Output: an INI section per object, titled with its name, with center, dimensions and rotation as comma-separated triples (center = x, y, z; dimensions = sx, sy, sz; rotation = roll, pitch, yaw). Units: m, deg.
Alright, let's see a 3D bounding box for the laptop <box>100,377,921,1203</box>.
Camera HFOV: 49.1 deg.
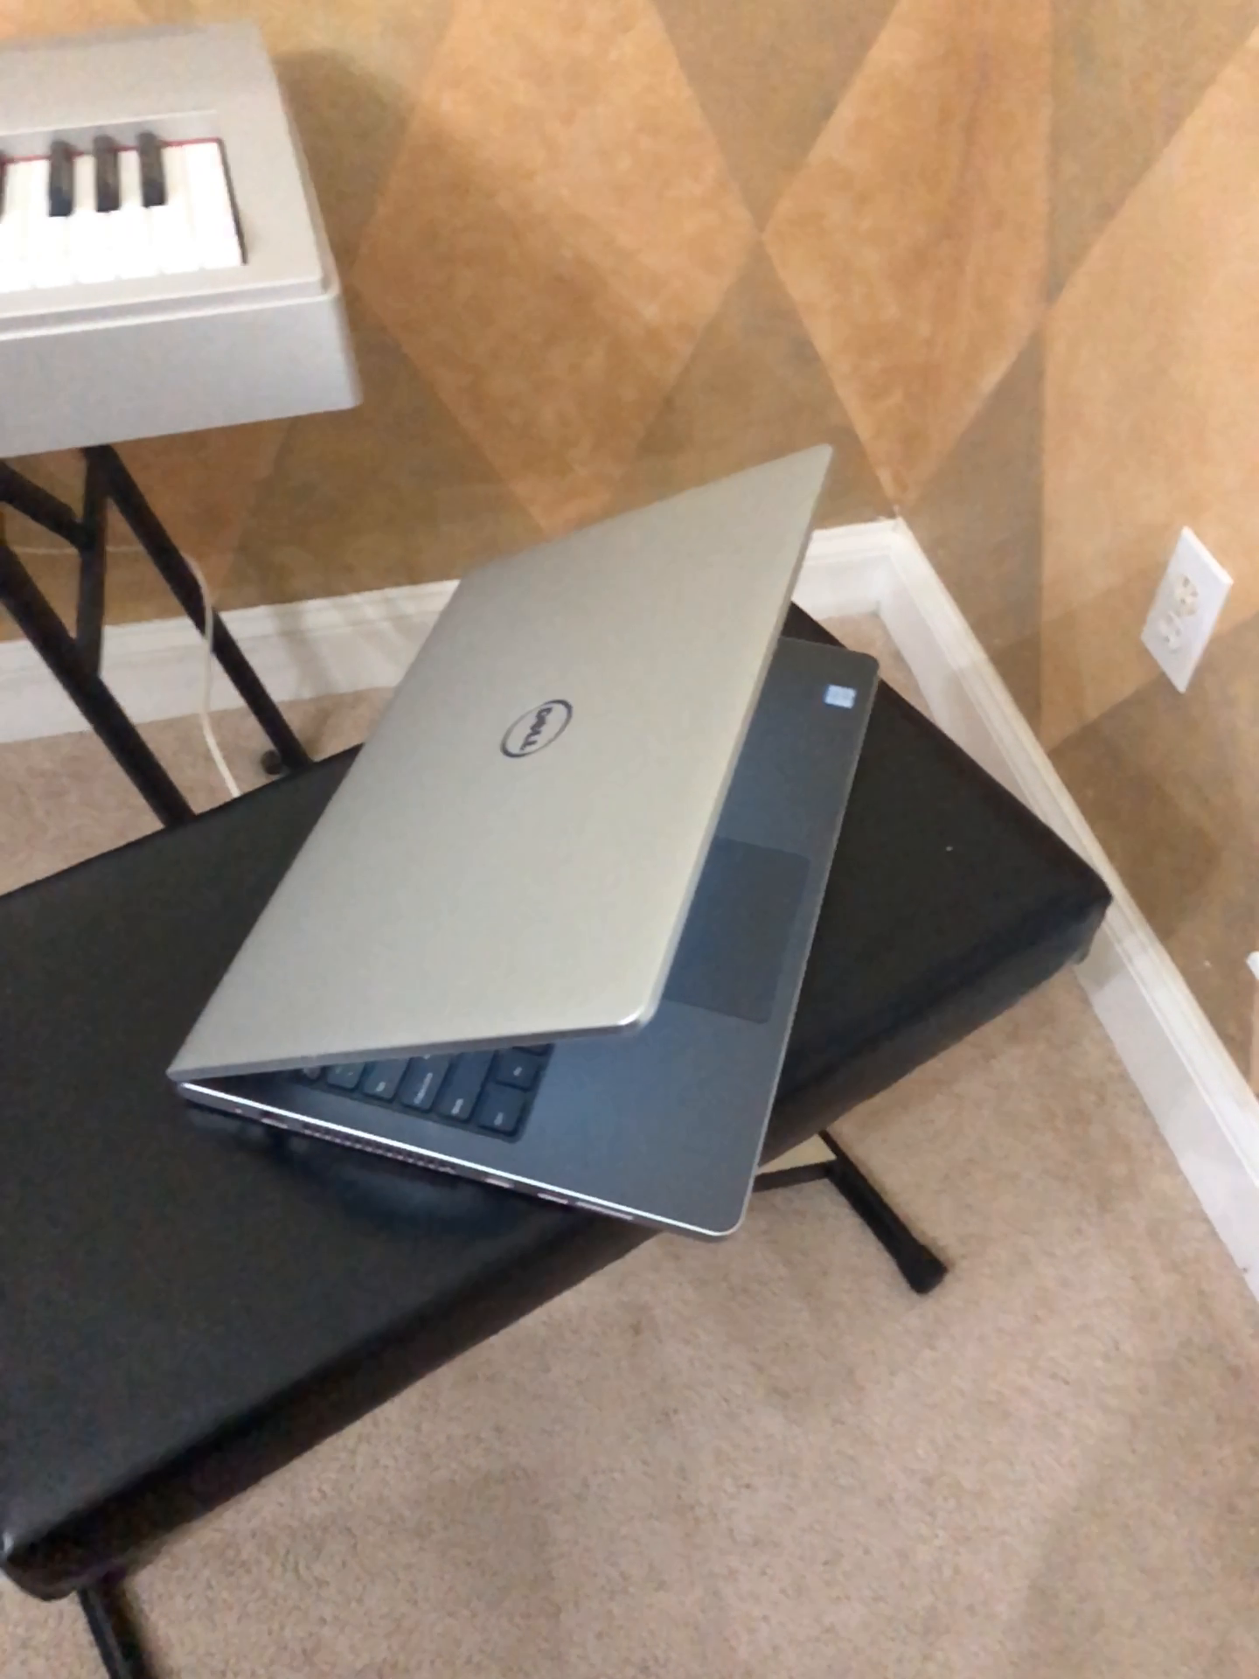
[laptop]
center = -0.026, -0.050, 0.683
dimensions = 0.261, 0.136, 0.377
rotation = 13, 50, 9
